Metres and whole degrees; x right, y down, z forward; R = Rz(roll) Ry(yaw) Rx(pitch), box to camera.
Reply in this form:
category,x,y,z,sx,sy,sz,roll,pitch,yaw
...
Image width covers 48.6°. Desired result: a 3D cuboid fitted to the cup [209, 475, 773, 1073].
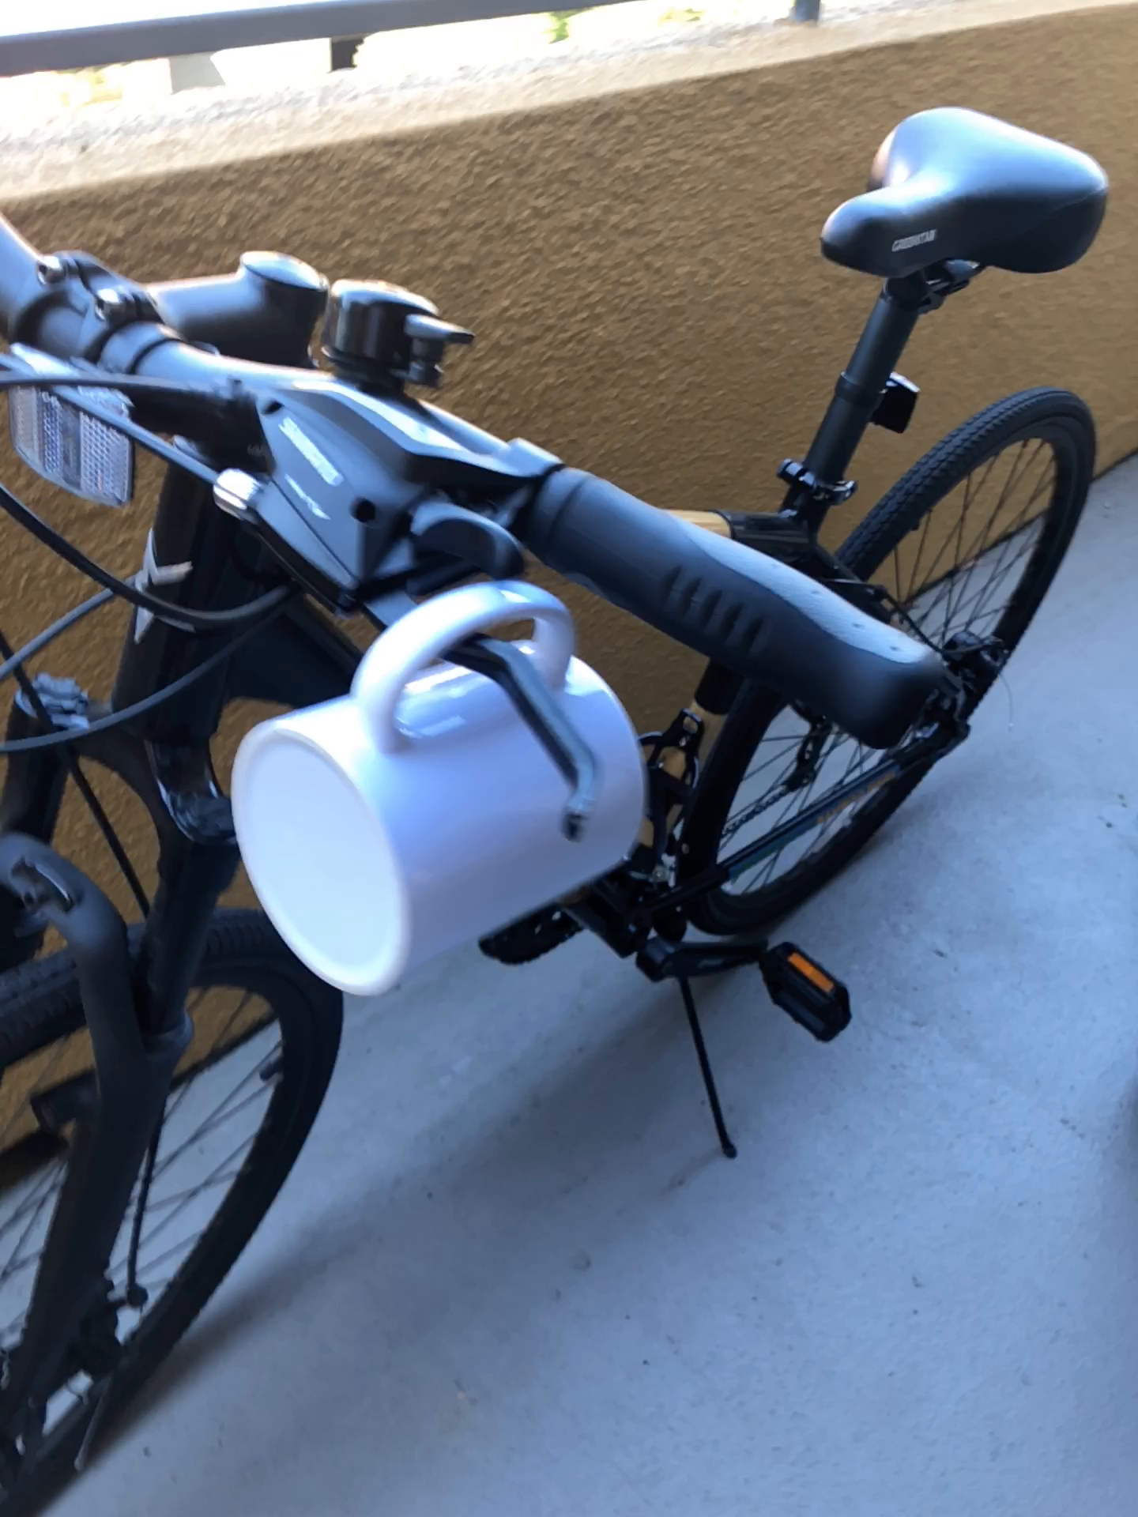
category,x,y,z,sx,sy,sz,roll,pitch,yaw
cup,-0.030,0.001,0.376,0.120,0.119,0.090,-20,54,-33
